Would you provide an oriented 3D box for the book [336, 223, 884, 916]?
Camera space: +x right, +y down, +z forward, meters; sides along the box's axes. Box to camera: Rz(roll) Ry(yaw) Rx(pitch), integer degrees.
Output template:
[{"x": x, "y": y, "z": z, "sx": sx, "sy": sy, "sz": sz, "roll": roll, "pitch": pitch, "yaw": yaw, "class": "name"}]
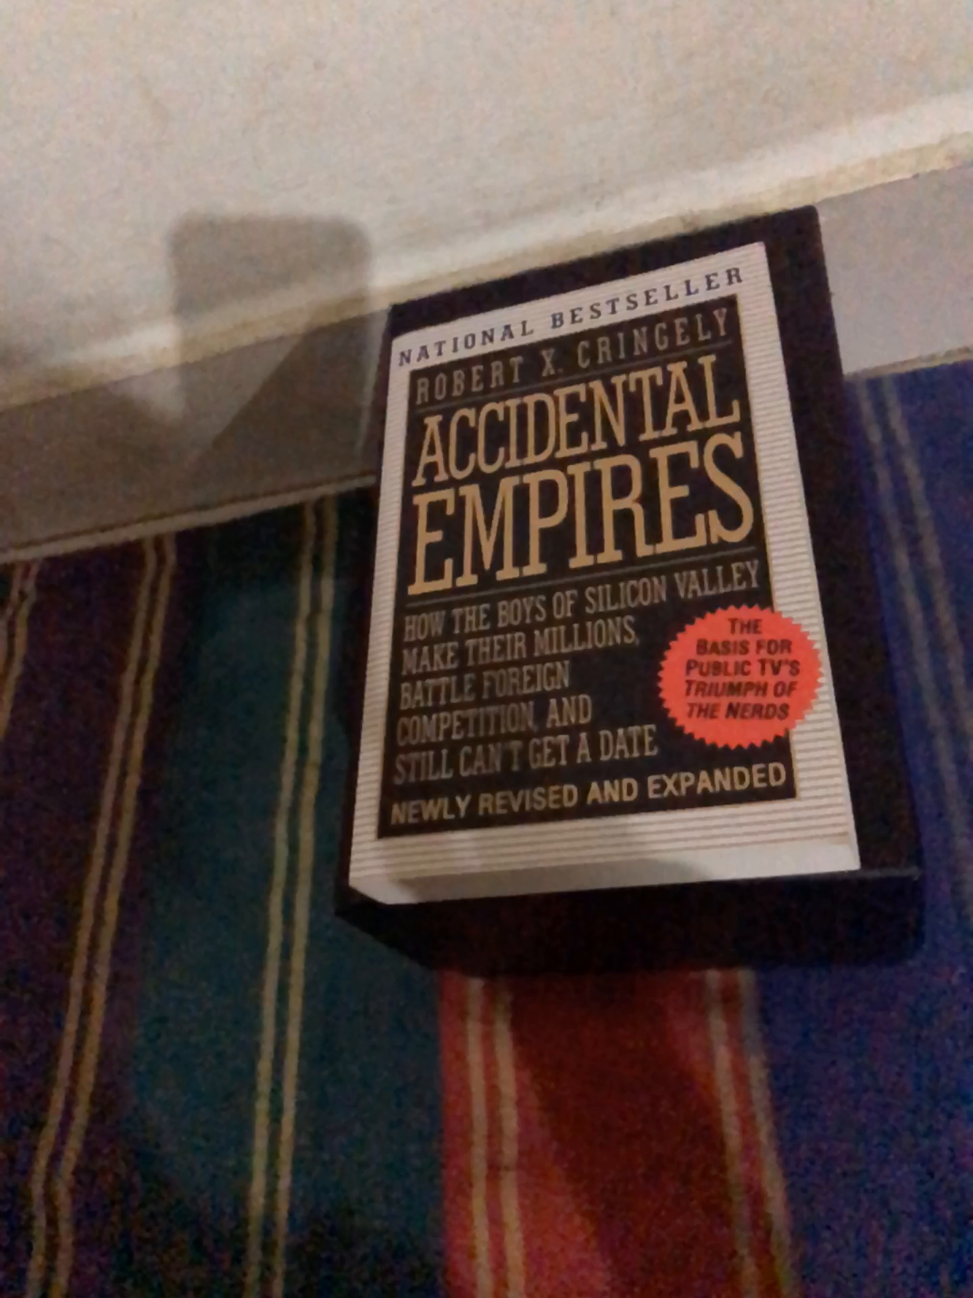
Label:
[{"x": 0.032, "y": -0.026, "z": 0.316, "sx": 0.130, "sy": 0.040, "sz": 0.190, "roll": -9, "pitch": 60, "yaw": 17, "class": "book"}]
